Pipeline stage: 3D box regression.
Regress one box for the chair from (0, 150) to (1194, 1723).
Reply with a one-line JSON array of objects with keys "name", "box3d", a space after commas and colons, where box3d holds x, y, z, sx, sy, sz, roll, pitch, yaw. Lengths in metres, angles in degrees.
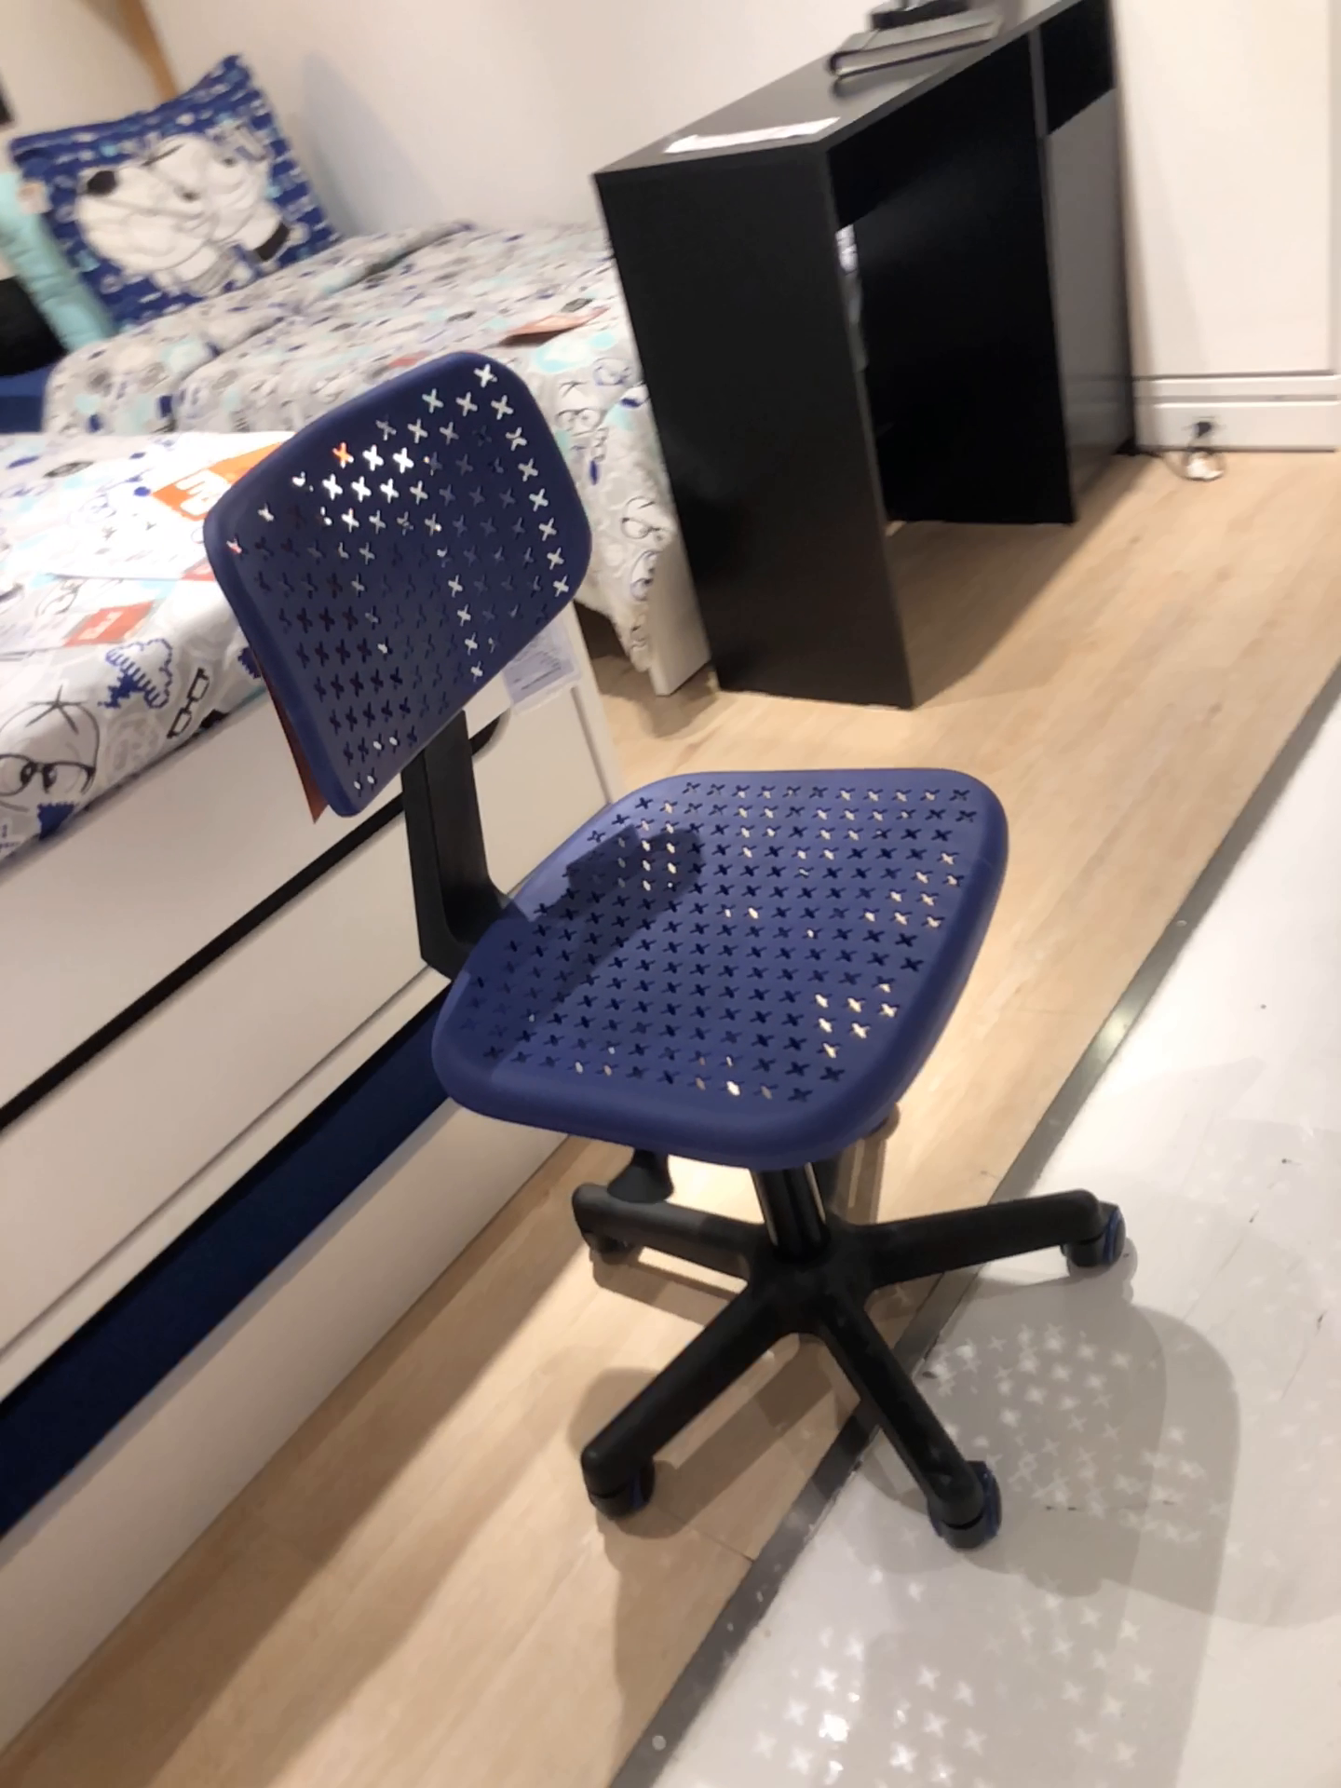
[{"name": "chair", "box3d": [0.012, 0.017, 1.051, 0.521, 0.814, 0.553, 10, 42, 34]}]
